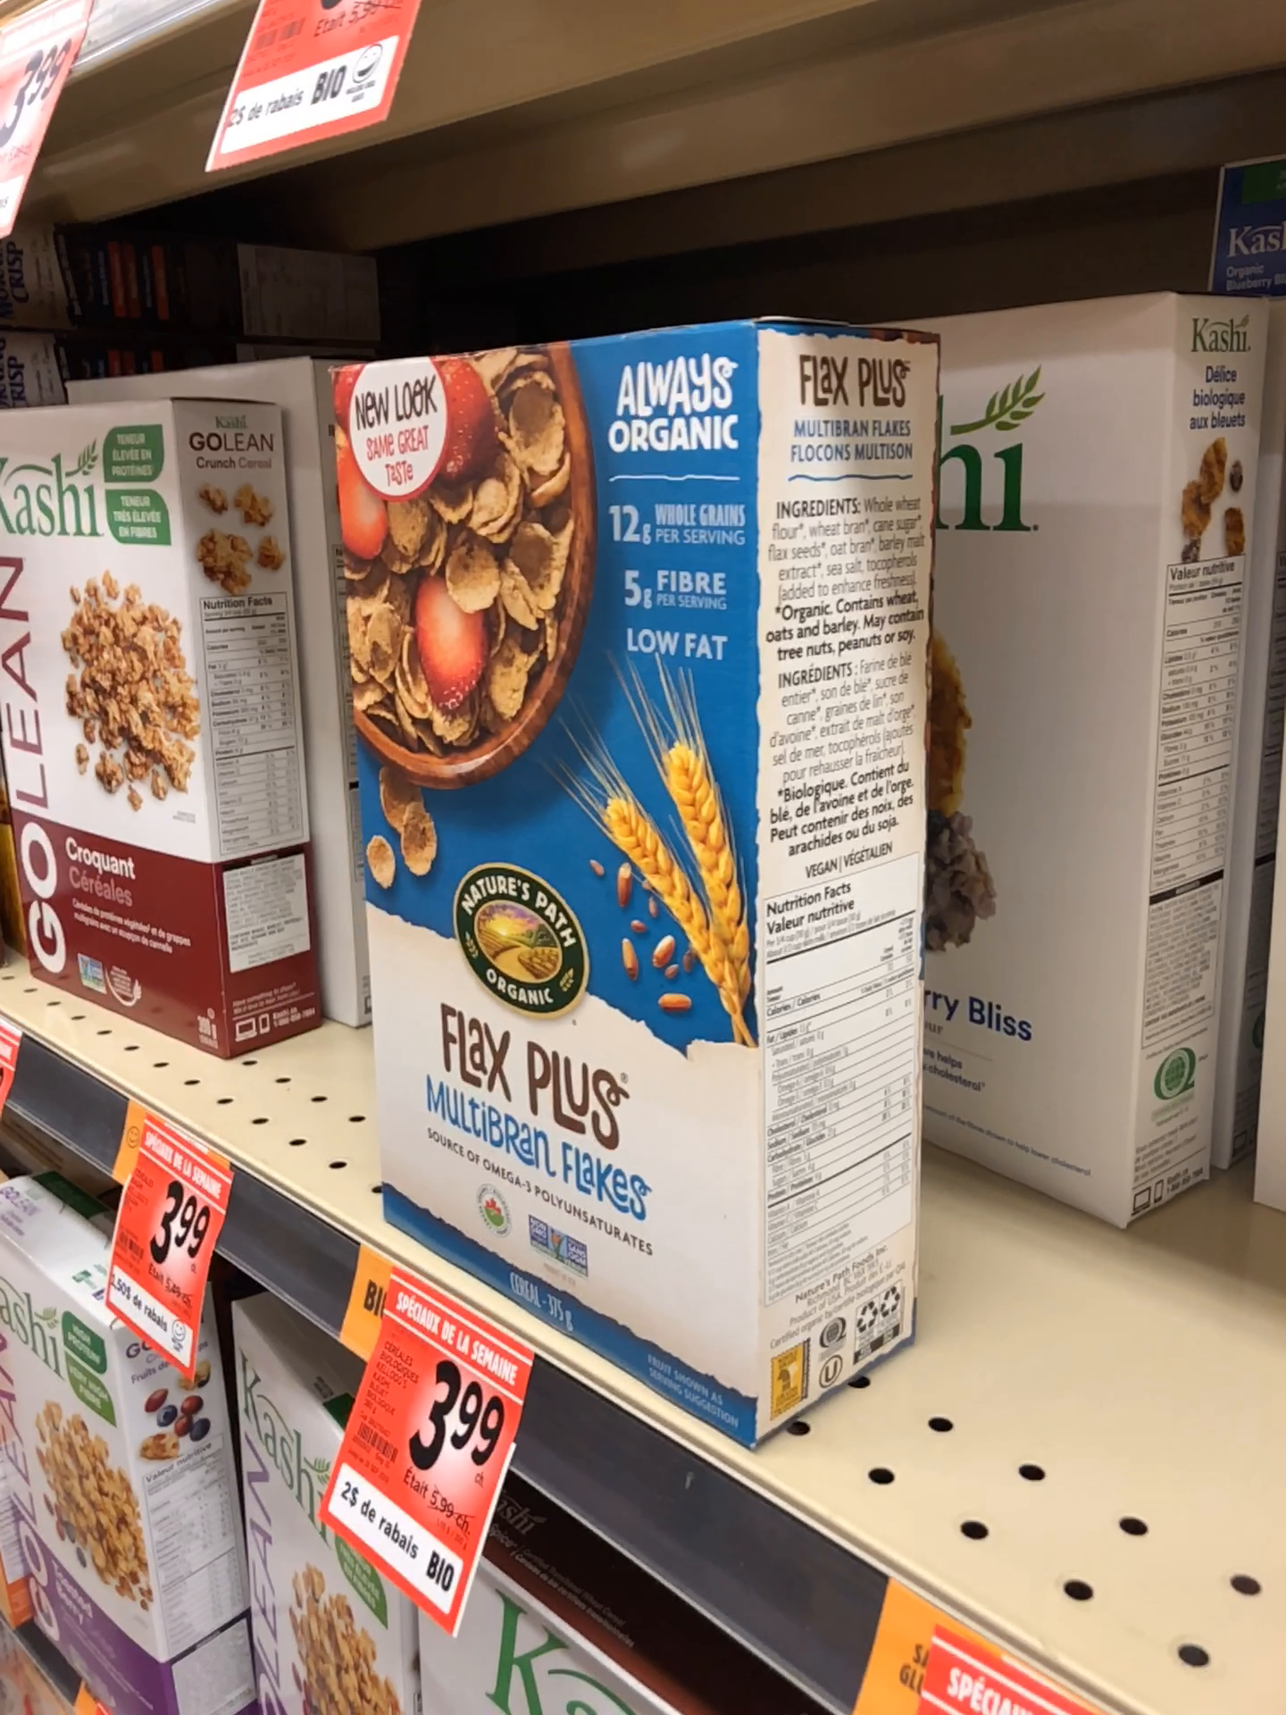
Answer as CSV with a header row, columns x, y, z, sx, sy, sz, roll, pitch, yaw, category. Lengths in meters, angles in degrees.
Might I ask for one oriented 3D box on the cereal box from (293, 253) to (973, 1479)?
x,y,z,sx,sy,sz,roll,pitch,yaw,category
-0.007,-0.006,0.383,0.070,0.269,0.170,-16,21,-40,cereal box
